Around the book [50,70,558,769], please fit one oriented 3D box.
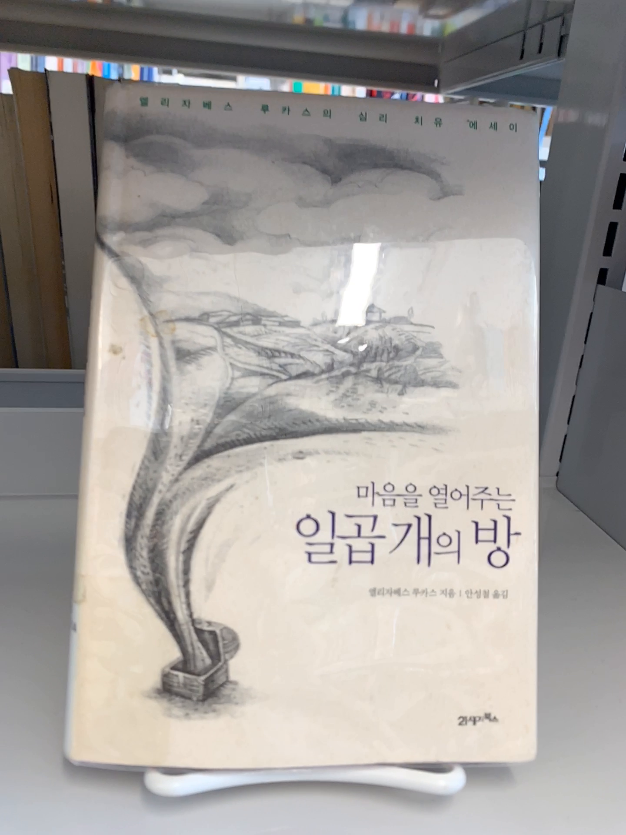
[{"bbox_3d":[0.000,0.002,0.194,0.137,0.193,0.019,3,-2,-5],"label":"book"}]
